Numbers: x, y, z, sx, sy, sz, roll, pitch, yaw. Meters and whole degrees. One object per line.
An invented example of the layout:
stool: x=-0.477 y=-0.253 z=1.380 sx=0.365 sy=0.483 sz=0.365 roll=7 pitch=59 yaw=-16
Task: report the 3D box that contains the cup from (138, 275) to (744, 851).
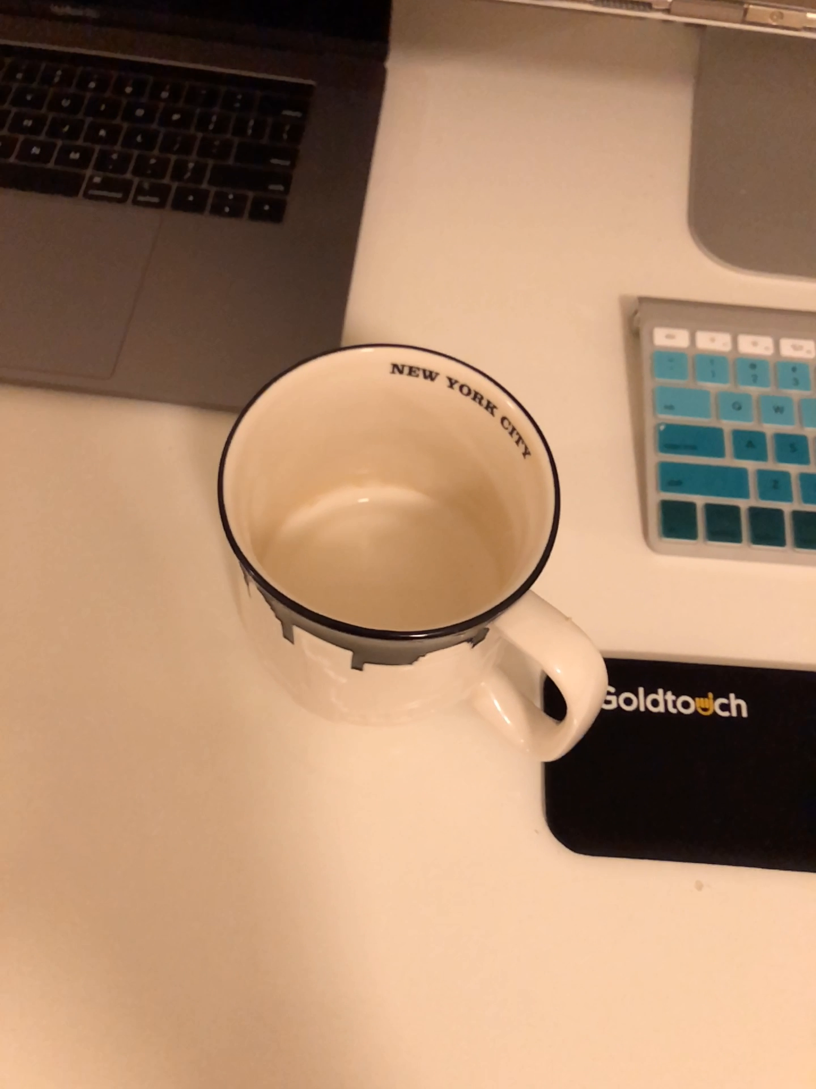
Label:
cup: x=0.009 y=0.007 z=0.304 sx=0.140 sy=0.090 sz=0.110 roll=32 pitch=65 yaw=11
